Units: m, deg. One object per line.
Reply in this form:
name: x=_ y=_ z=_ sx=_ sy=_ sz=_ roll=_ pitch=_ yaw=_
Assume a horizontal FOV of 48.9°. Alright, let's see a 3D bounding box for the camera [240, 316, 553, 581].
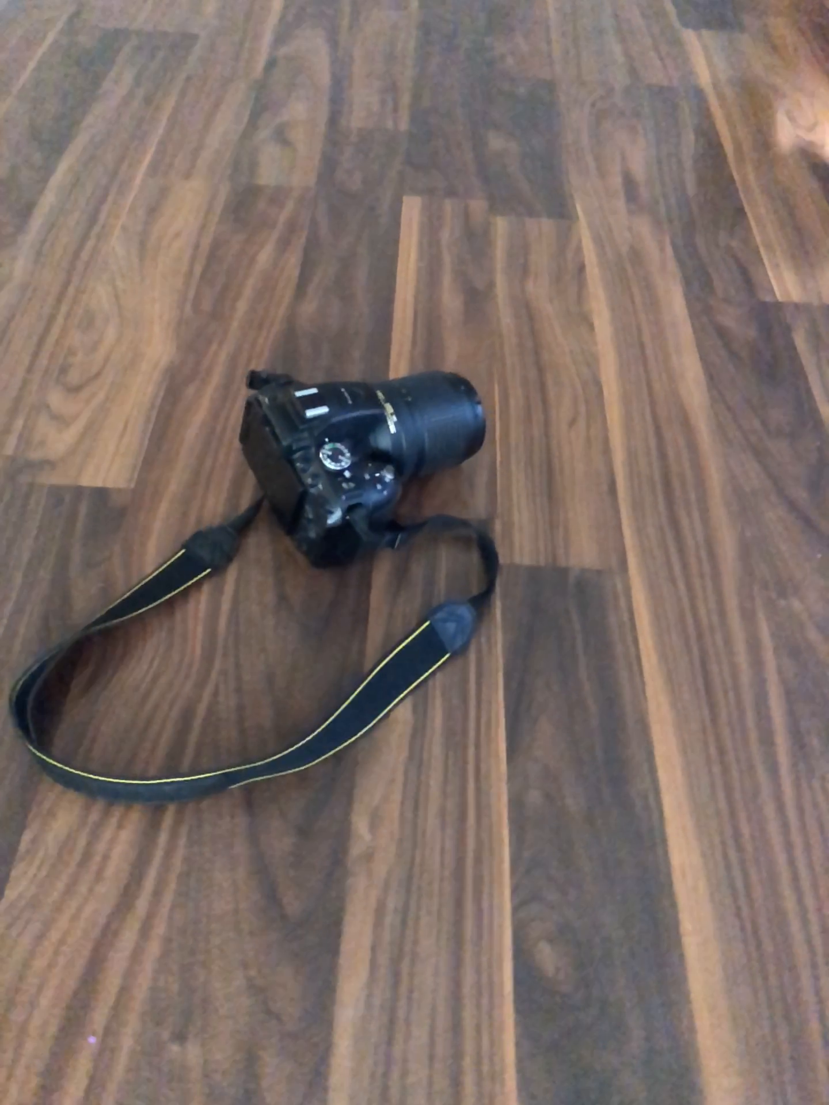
camera: x=-0.013 y=-0.074 z=0.607 sx=0.160 sy=0.070 sz=0.120 roll=-24 pitch=55 yaw=-22
